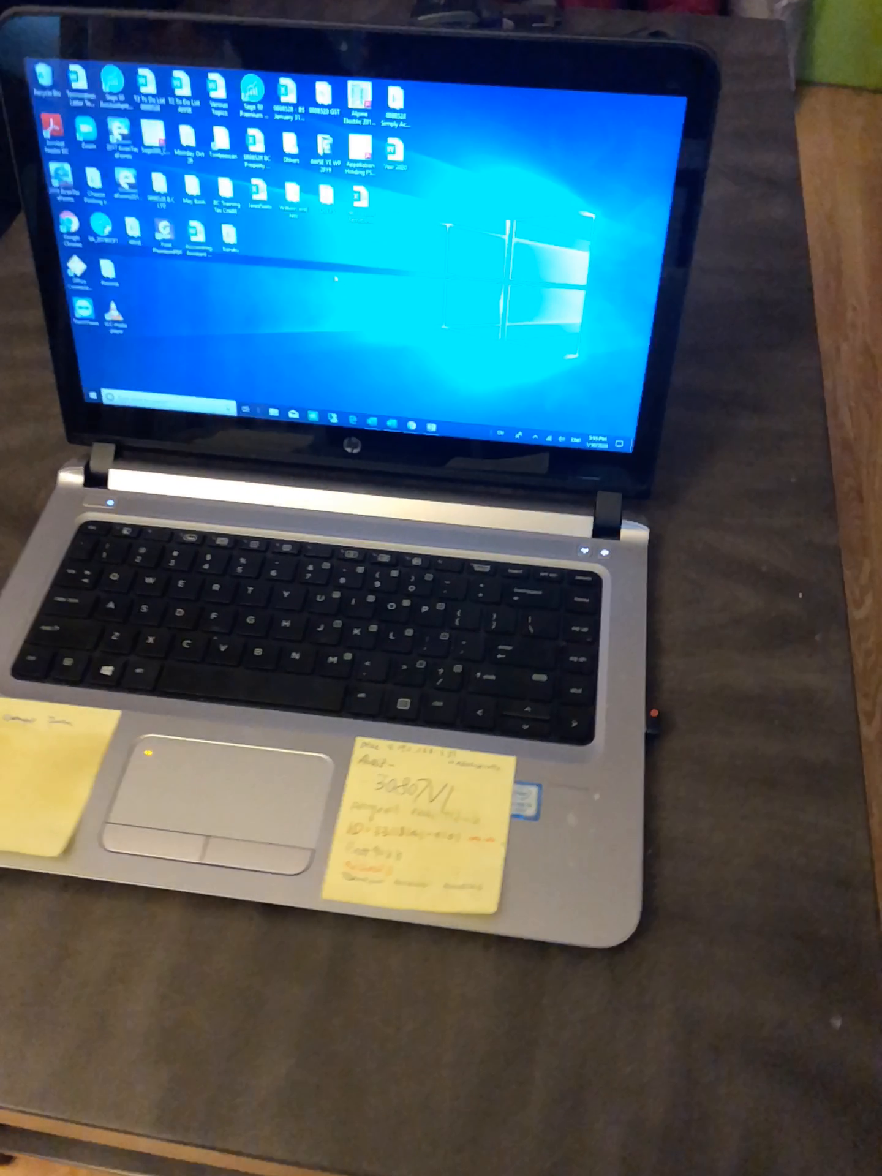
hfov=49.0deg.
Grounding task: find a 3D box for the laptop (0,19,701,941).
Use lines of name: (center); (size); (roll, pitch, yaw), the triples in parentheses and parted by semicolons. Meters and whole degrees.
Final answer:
laptop: (-0.073, -0.058, 0.421); (0.319, 0.208, 0.308); (6, 54, 6)
